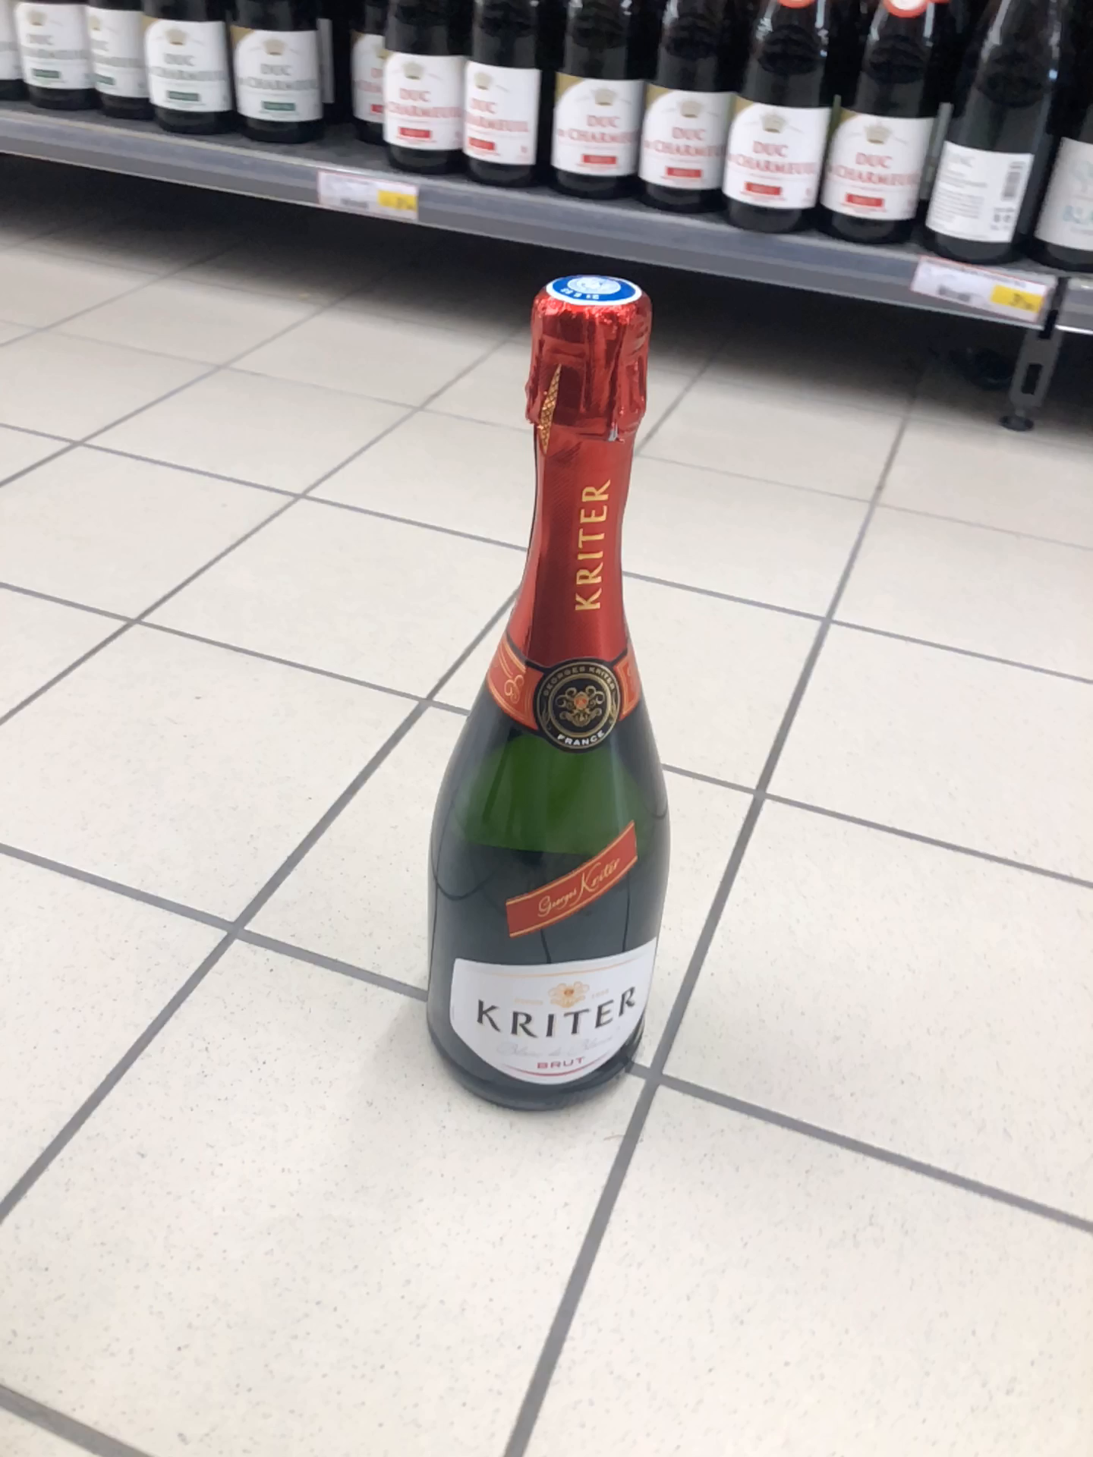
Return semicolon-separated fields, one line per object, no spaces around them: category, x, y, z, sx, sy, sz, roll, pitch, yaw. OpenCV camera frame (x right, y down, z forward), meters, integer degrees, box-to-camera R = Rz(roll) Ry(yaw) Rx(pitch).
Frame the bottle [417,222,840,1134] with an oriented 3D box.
bottle;0.007;-0.001;0.410;0.100;0.298;0.101;3;35;-2
